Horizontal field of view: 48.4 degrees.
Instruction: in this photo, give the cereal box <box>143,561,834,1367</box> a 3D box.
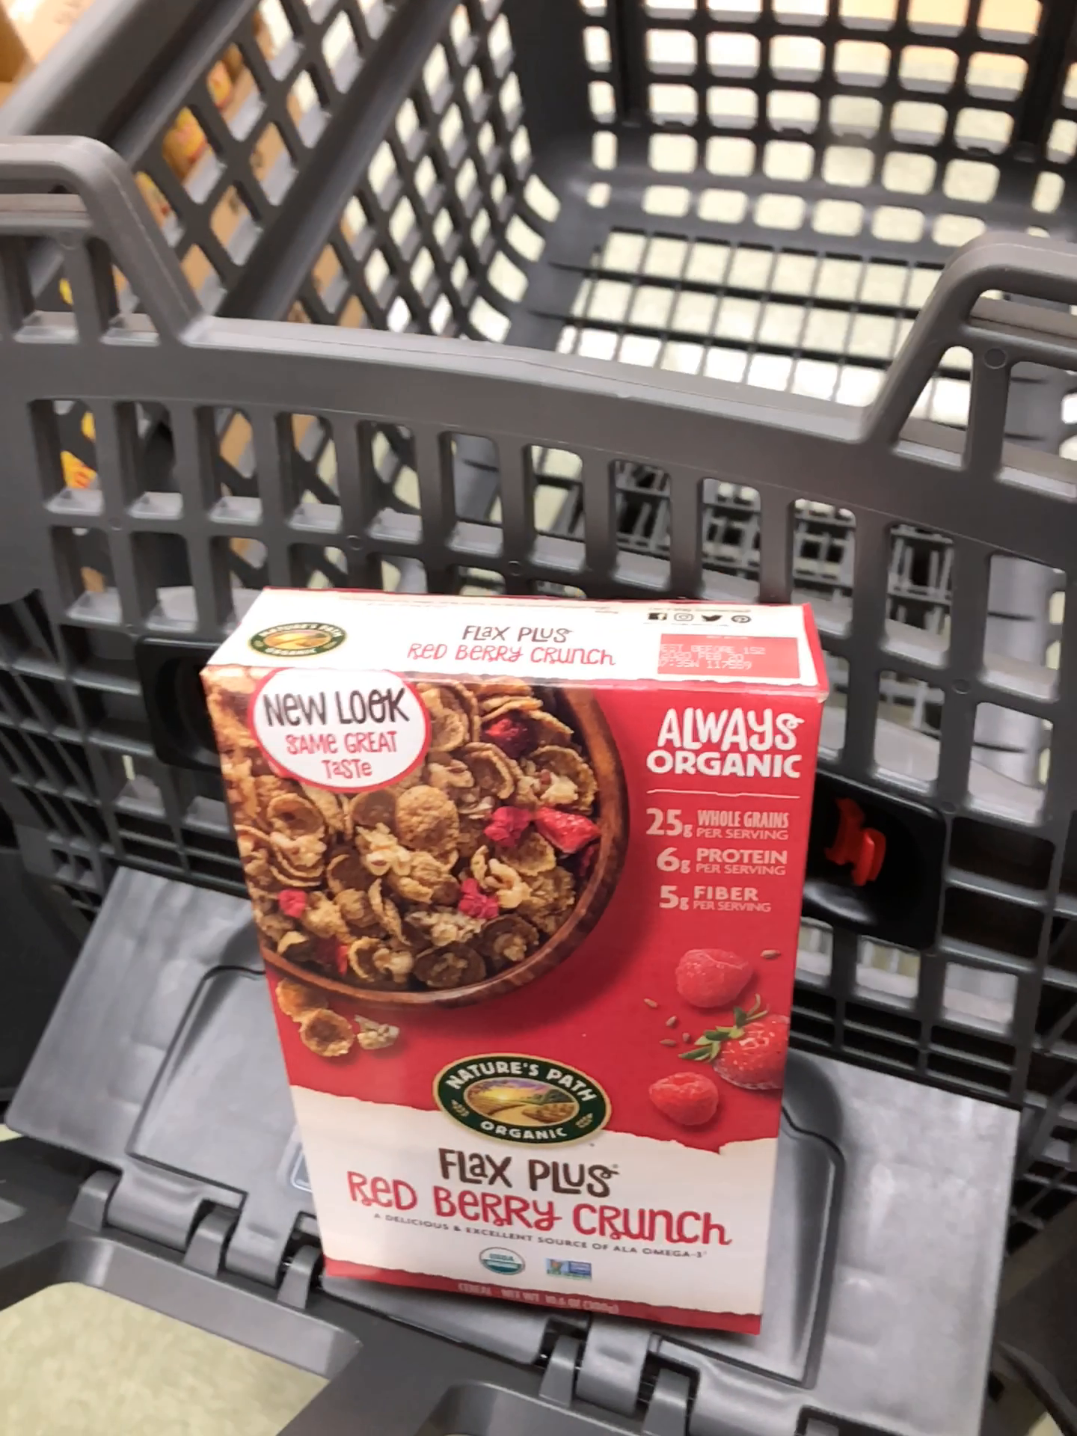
[{"bbox_3d":[-0.005,0.083,0.378,0.170,0.250,0.070,3,30,10],"label":"cereal box"}]
